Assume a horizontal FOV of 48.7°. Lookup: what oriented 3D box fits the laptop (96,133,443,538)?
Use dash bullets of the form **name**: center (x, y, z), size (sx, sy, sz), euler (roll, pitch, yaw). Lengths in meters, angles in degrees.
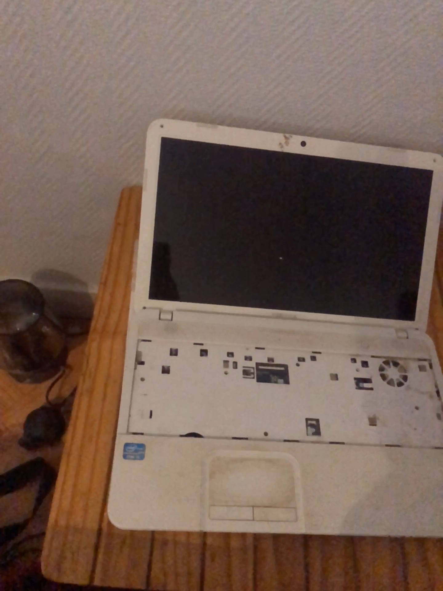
- **laptop**: center (0.088, 0.024, 0.539), size (0.371, 0.118, 0.419), euler (5, 55, -6)
